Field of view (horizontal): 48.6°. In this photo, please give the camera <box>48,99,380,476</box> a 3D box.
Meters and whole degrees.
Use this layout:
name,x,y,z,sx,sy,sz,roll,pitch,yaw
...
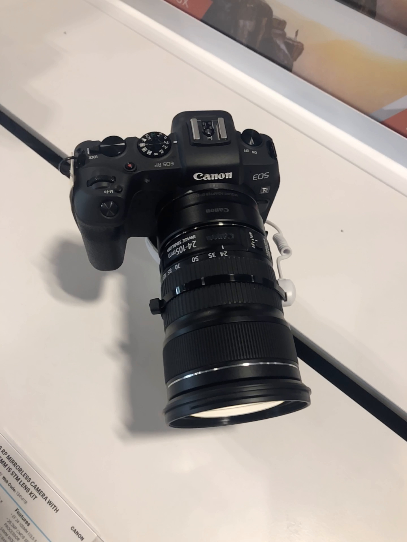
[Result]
name,x,y,z,sx,sy,sz,roll,pitch,yaw
camera,-0.012,0.002,0.268,0.136,0.090,0.191,-6,61,-10
